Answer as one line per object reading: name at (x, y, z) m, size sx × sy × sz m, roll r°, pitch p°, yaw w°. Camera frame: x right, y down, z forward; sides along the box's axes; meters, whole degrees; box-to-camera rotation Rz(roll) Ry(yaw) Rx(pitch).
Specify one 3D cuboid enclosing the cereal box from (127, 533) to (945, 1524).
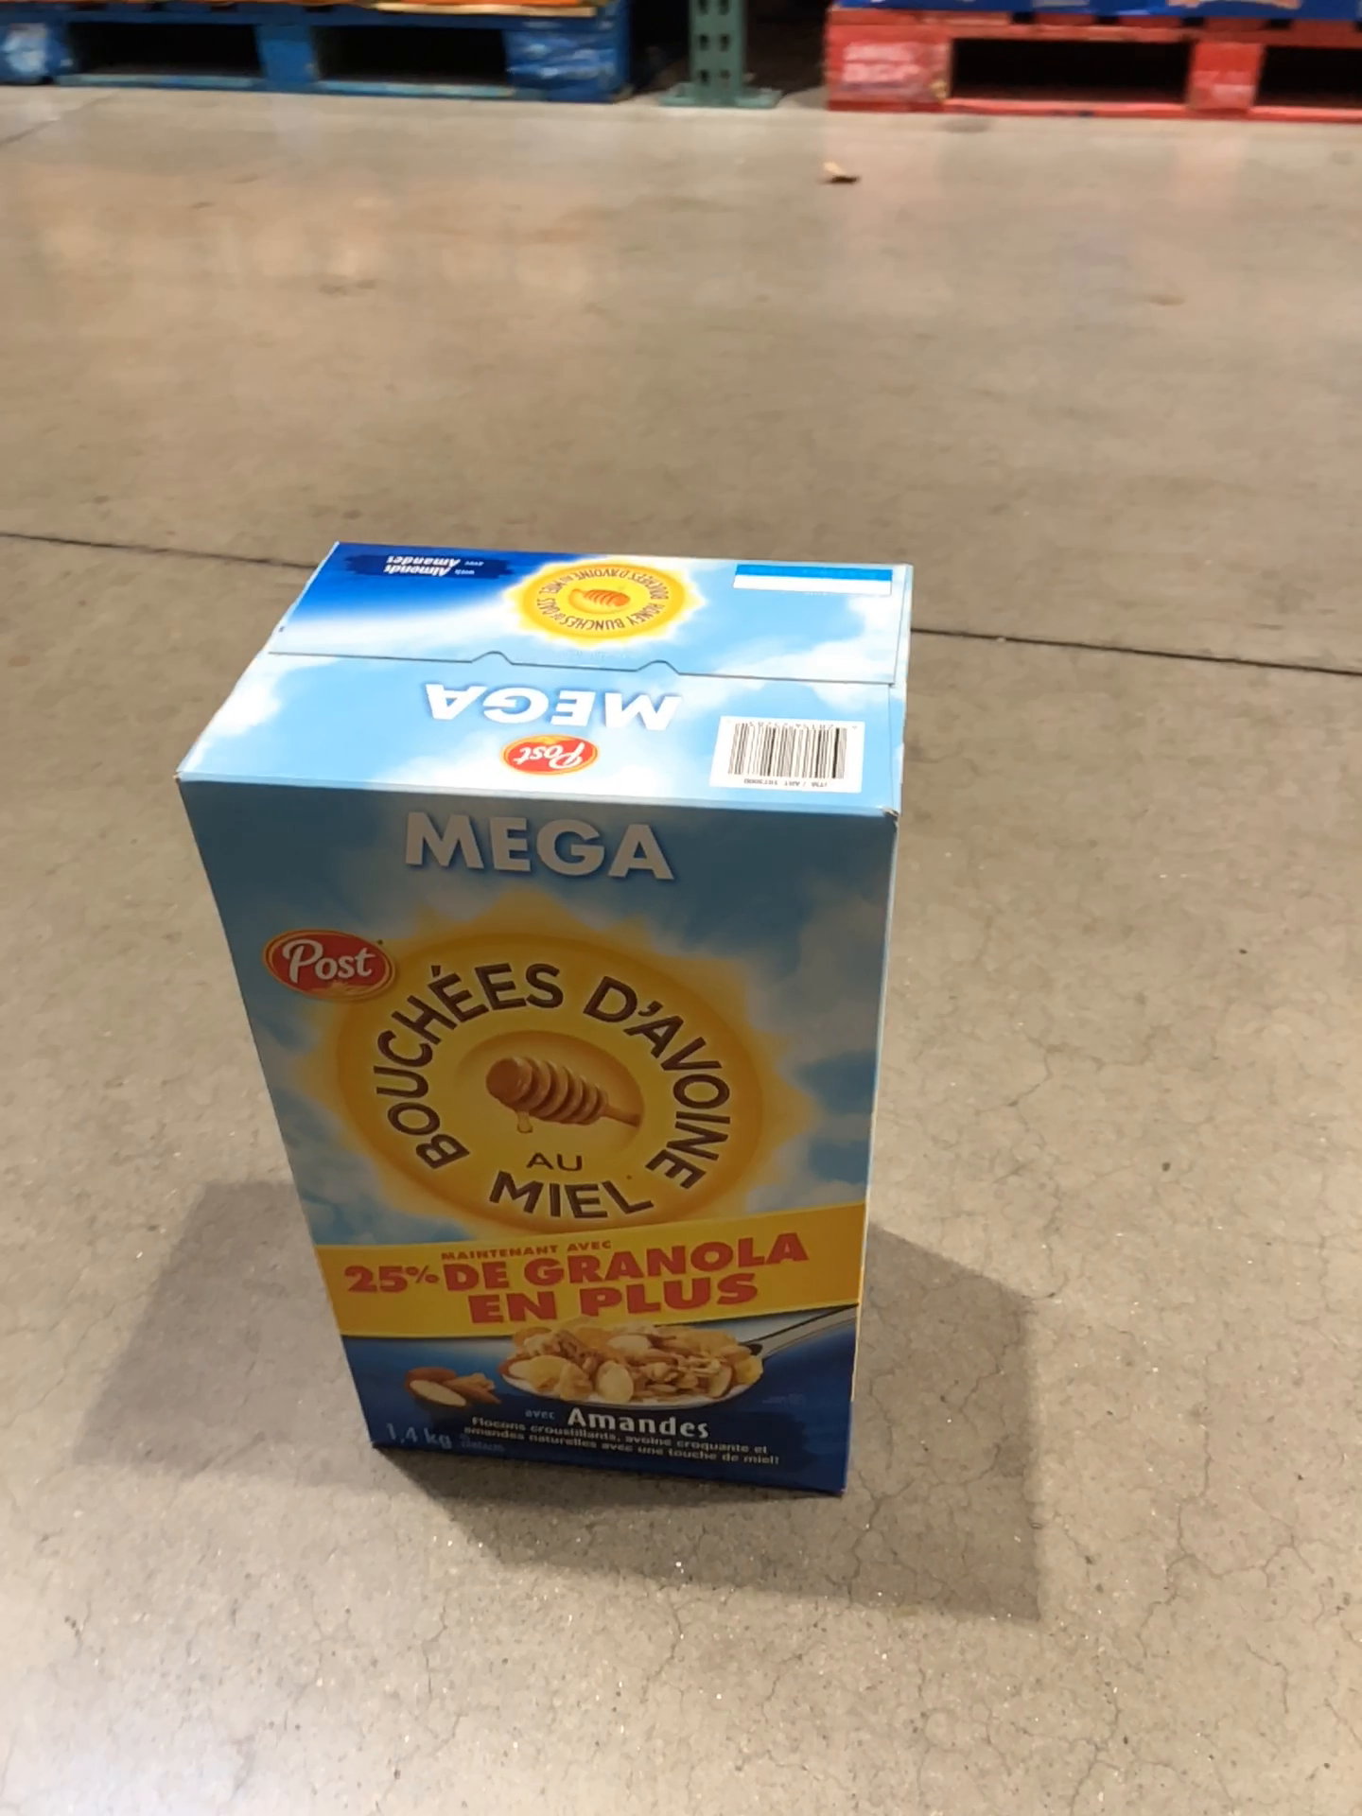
cereal box at (-0.025, 0.055, 0.541) m, size 0.210 × 0.329 × 0.151 m, roll 3°, pitch 40°, yaw 7°
